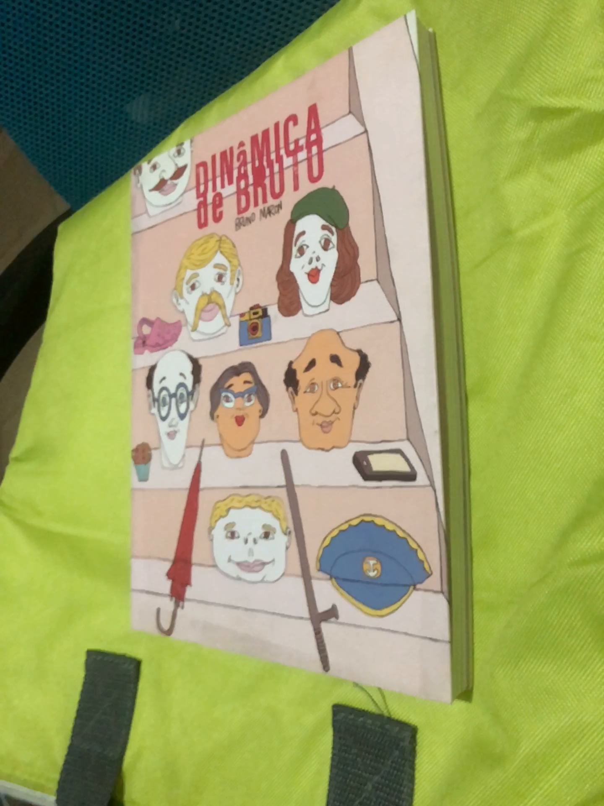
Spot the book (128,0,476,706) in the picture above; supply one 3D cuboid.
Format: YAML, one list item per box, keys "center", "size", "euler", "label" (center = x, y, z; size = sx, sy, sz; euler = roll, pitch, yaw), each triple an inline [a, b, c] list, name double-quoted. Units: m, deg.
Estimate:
- center: [-0.017, -0.017, 0.289]
  size: [0.179, 0.020, 0.239]
  euler: [-8, 81, 44]
  label: "book"
